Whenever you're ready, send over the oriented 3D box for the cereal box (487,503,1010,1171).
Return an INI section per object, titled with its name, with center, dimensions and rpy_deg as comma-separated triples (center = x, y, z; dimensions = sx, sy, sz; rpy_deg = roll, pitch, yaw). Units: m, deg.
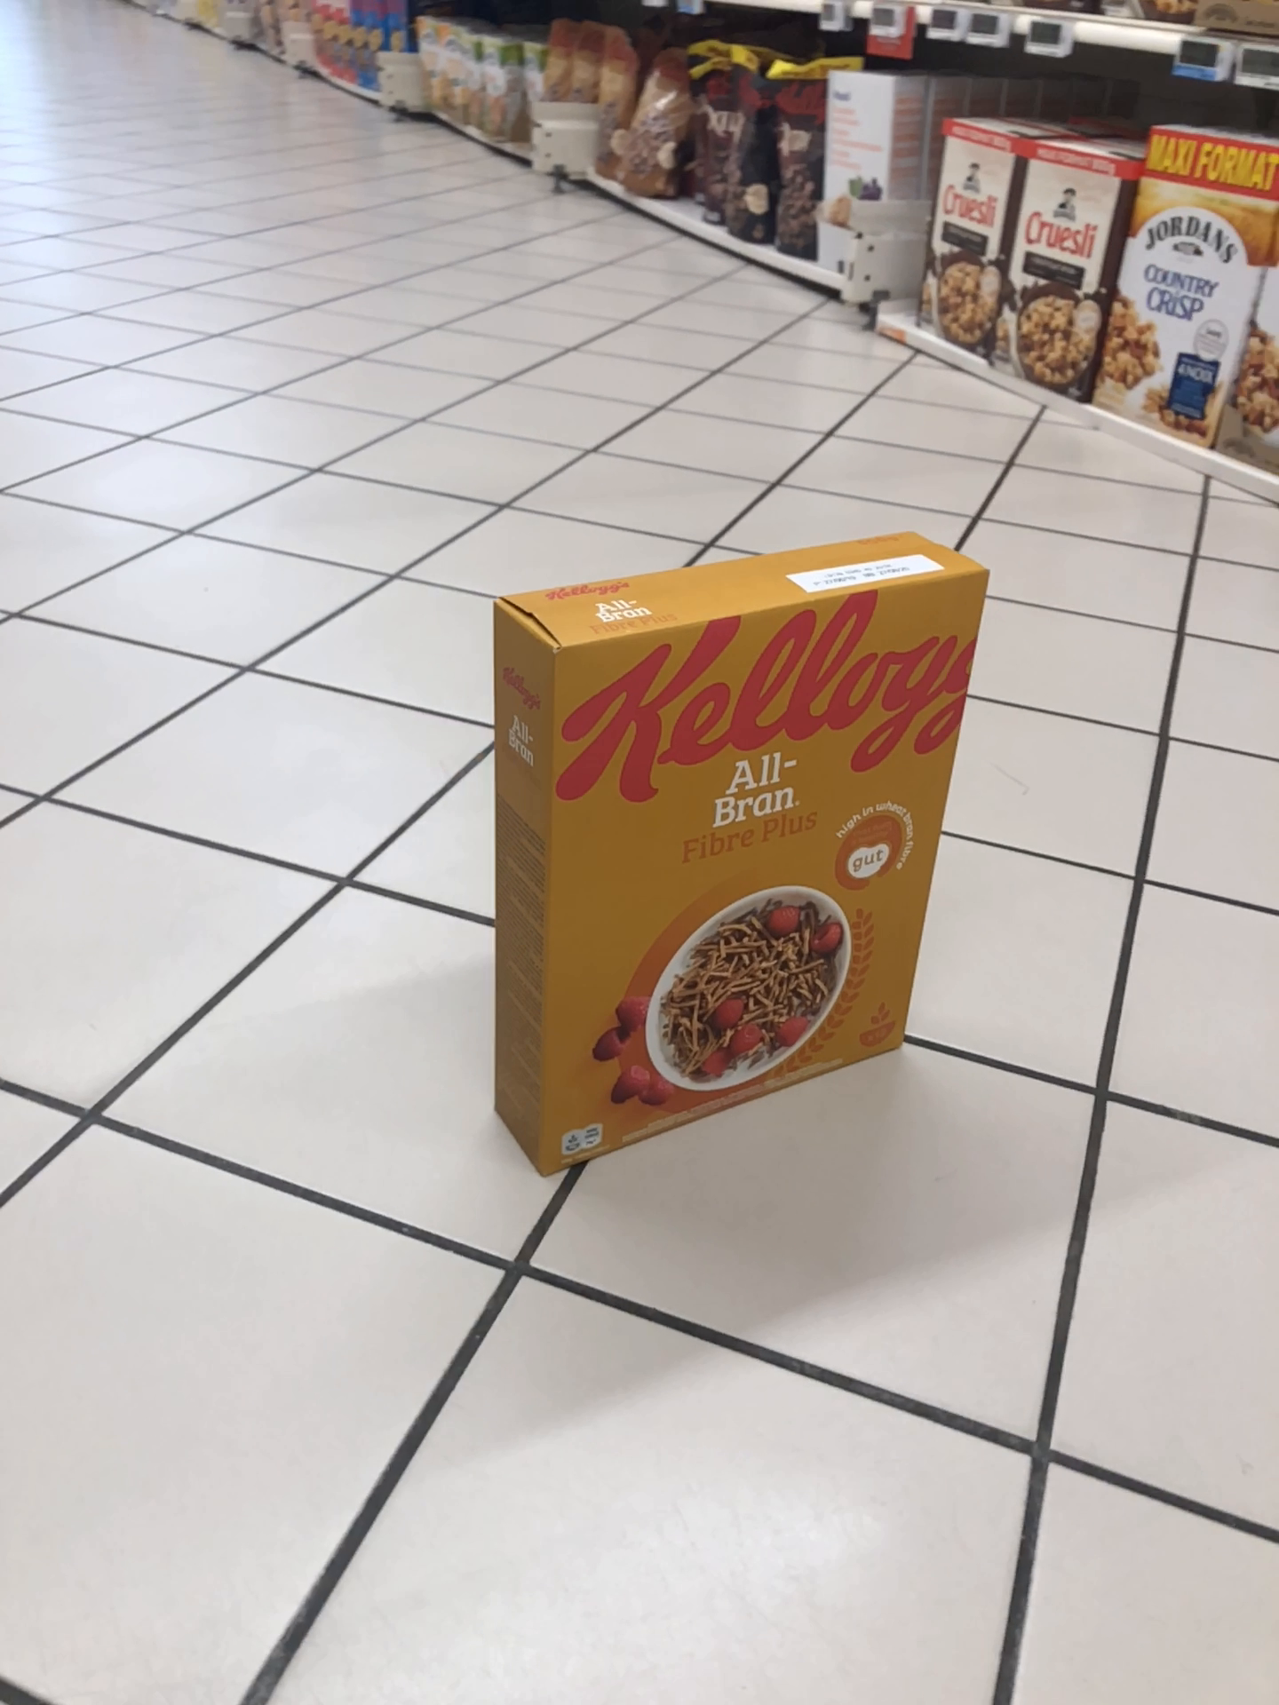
[cereal box]
center = 0.039, -0.007, 0.580
dimensions = 0.191, 0.239, 0.060
rpy_deg = -15, 36, -26
